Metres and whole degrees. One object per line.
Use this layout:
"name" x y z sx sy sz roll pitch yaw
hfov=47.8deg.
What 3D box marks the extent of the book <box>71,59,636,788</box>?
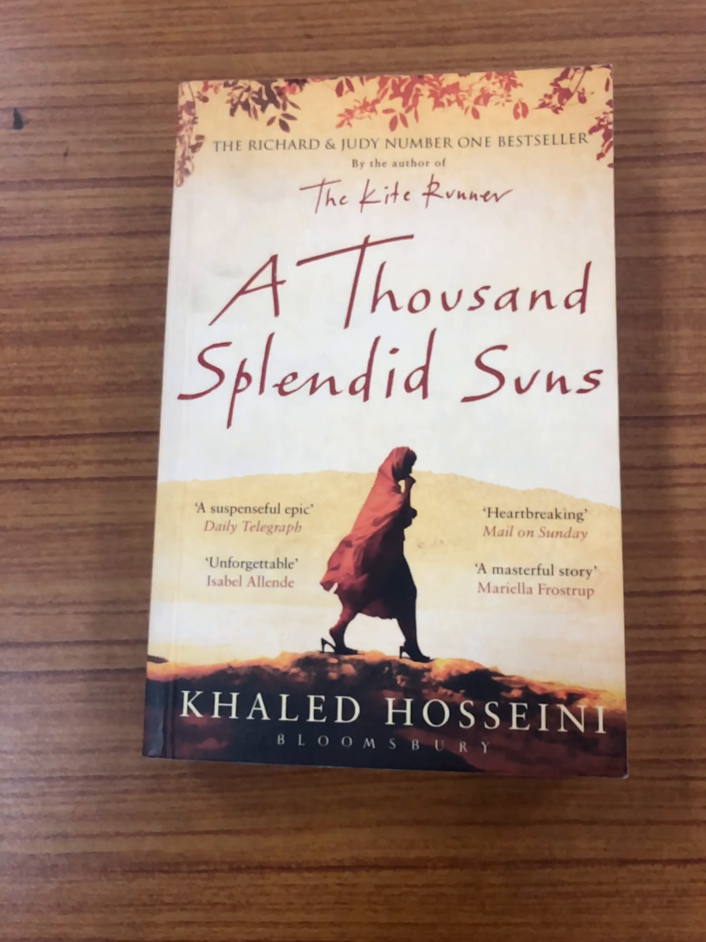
"book" 0.001 -0.016 0.223 0.140 0.030 0.190 0 83 3
